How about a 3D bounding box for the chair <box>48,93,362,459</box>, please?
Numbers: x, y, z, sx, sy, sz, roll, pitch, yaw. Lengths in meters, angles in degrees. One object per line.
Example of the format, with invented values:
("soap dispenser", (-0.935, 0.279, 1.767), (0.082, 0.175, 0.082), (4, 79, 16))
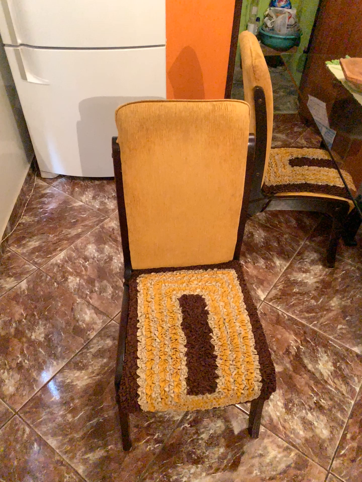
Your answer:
("chair", (0.043, 0.151, 1.108), (0.560, 0.935, 0.603), (-3, 45, -5))
